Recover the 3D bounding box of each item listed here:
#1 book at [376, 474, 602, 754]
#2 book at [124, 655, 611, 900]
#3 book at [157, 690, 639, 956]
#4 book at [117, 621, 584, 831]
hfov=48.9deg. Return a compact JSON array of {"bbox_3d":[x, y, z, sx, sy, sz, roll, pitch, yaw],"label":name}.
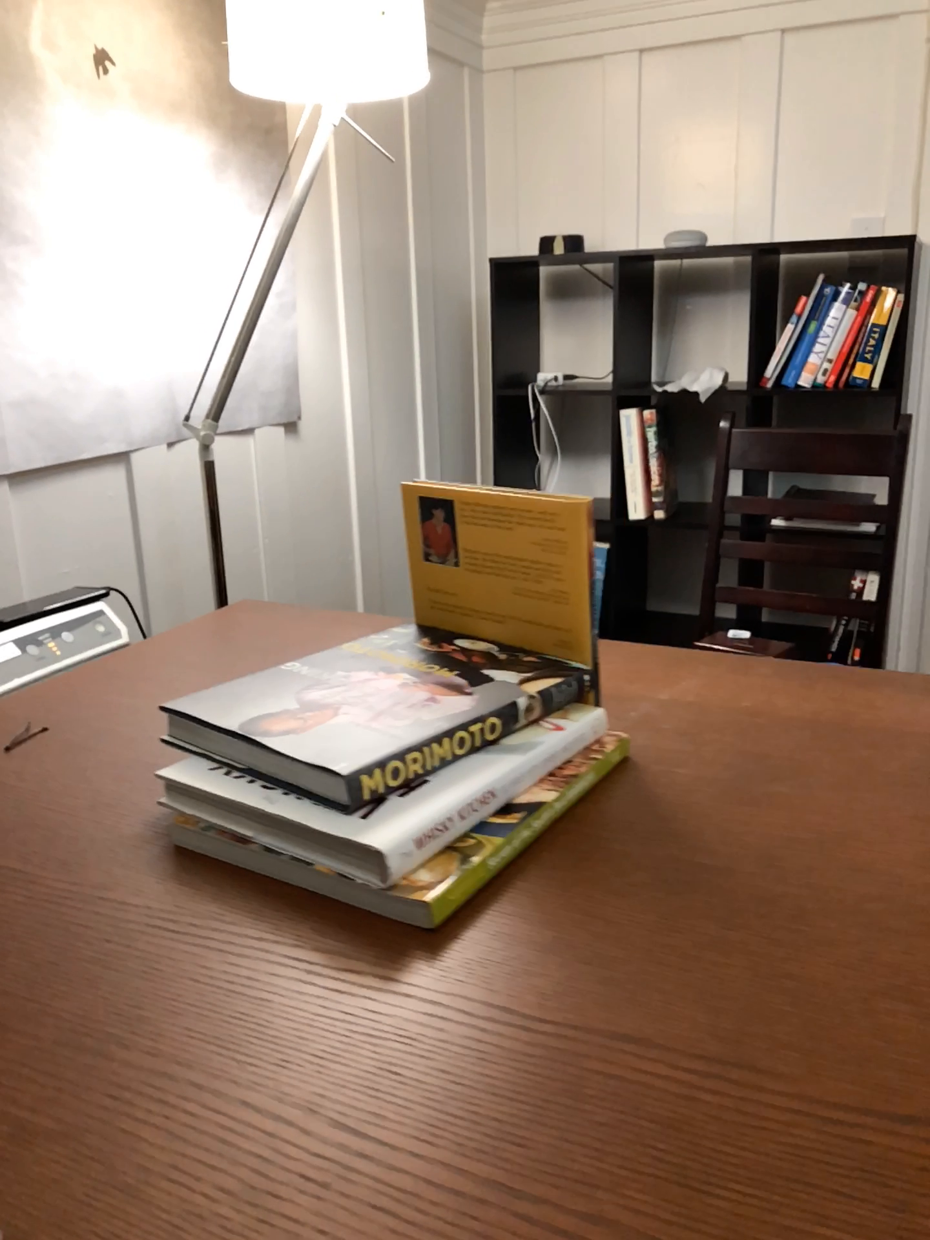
[{"bbox_3d":[0.017,-0.012,0.869,0.210,0.209,0.030,11,23,41],"label":"book"},{"bbox_3d":[-0.057,0.093,0.736,0.220,0.030,0.281,10,19,33],"label":"book"},{"bbox_3d":[-0.034,0.123,0.730,0.220,0.030,0.281,9,18,31],"label":"book"},{"bbox_3d":[-0.079,0.064,0.783,0.220,0.030,0.281,12,20,38],"label":"book"}]
